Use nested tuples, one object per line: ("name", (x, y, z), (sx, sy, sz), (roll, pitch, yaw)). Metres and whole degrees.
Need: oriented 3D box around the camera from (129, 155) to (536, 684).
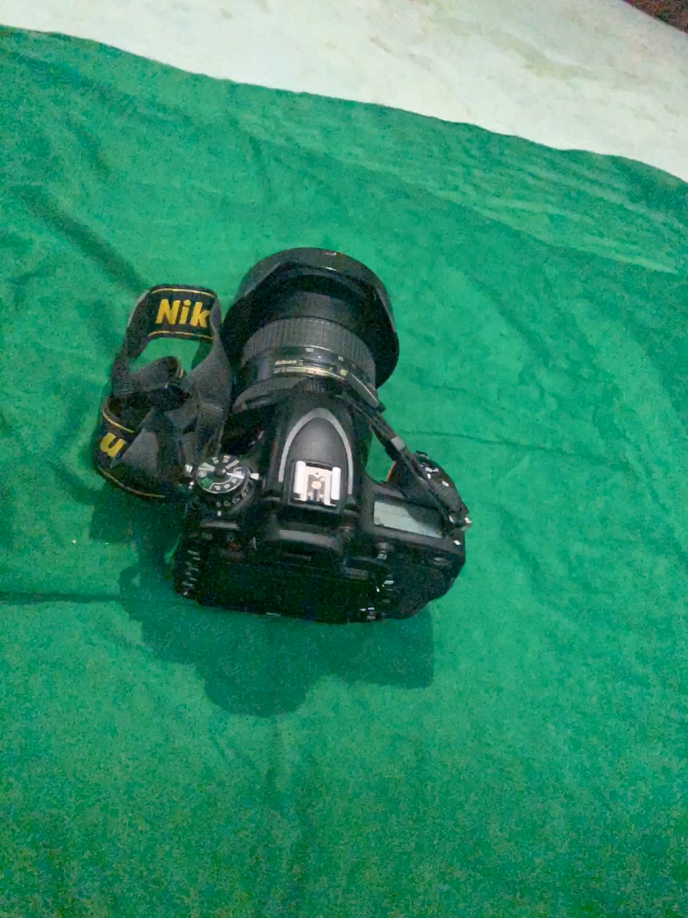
("camera", (-0.003, -0.040, 0.418), (0.170, 0.100, 0.291), (12, 50, -8))
